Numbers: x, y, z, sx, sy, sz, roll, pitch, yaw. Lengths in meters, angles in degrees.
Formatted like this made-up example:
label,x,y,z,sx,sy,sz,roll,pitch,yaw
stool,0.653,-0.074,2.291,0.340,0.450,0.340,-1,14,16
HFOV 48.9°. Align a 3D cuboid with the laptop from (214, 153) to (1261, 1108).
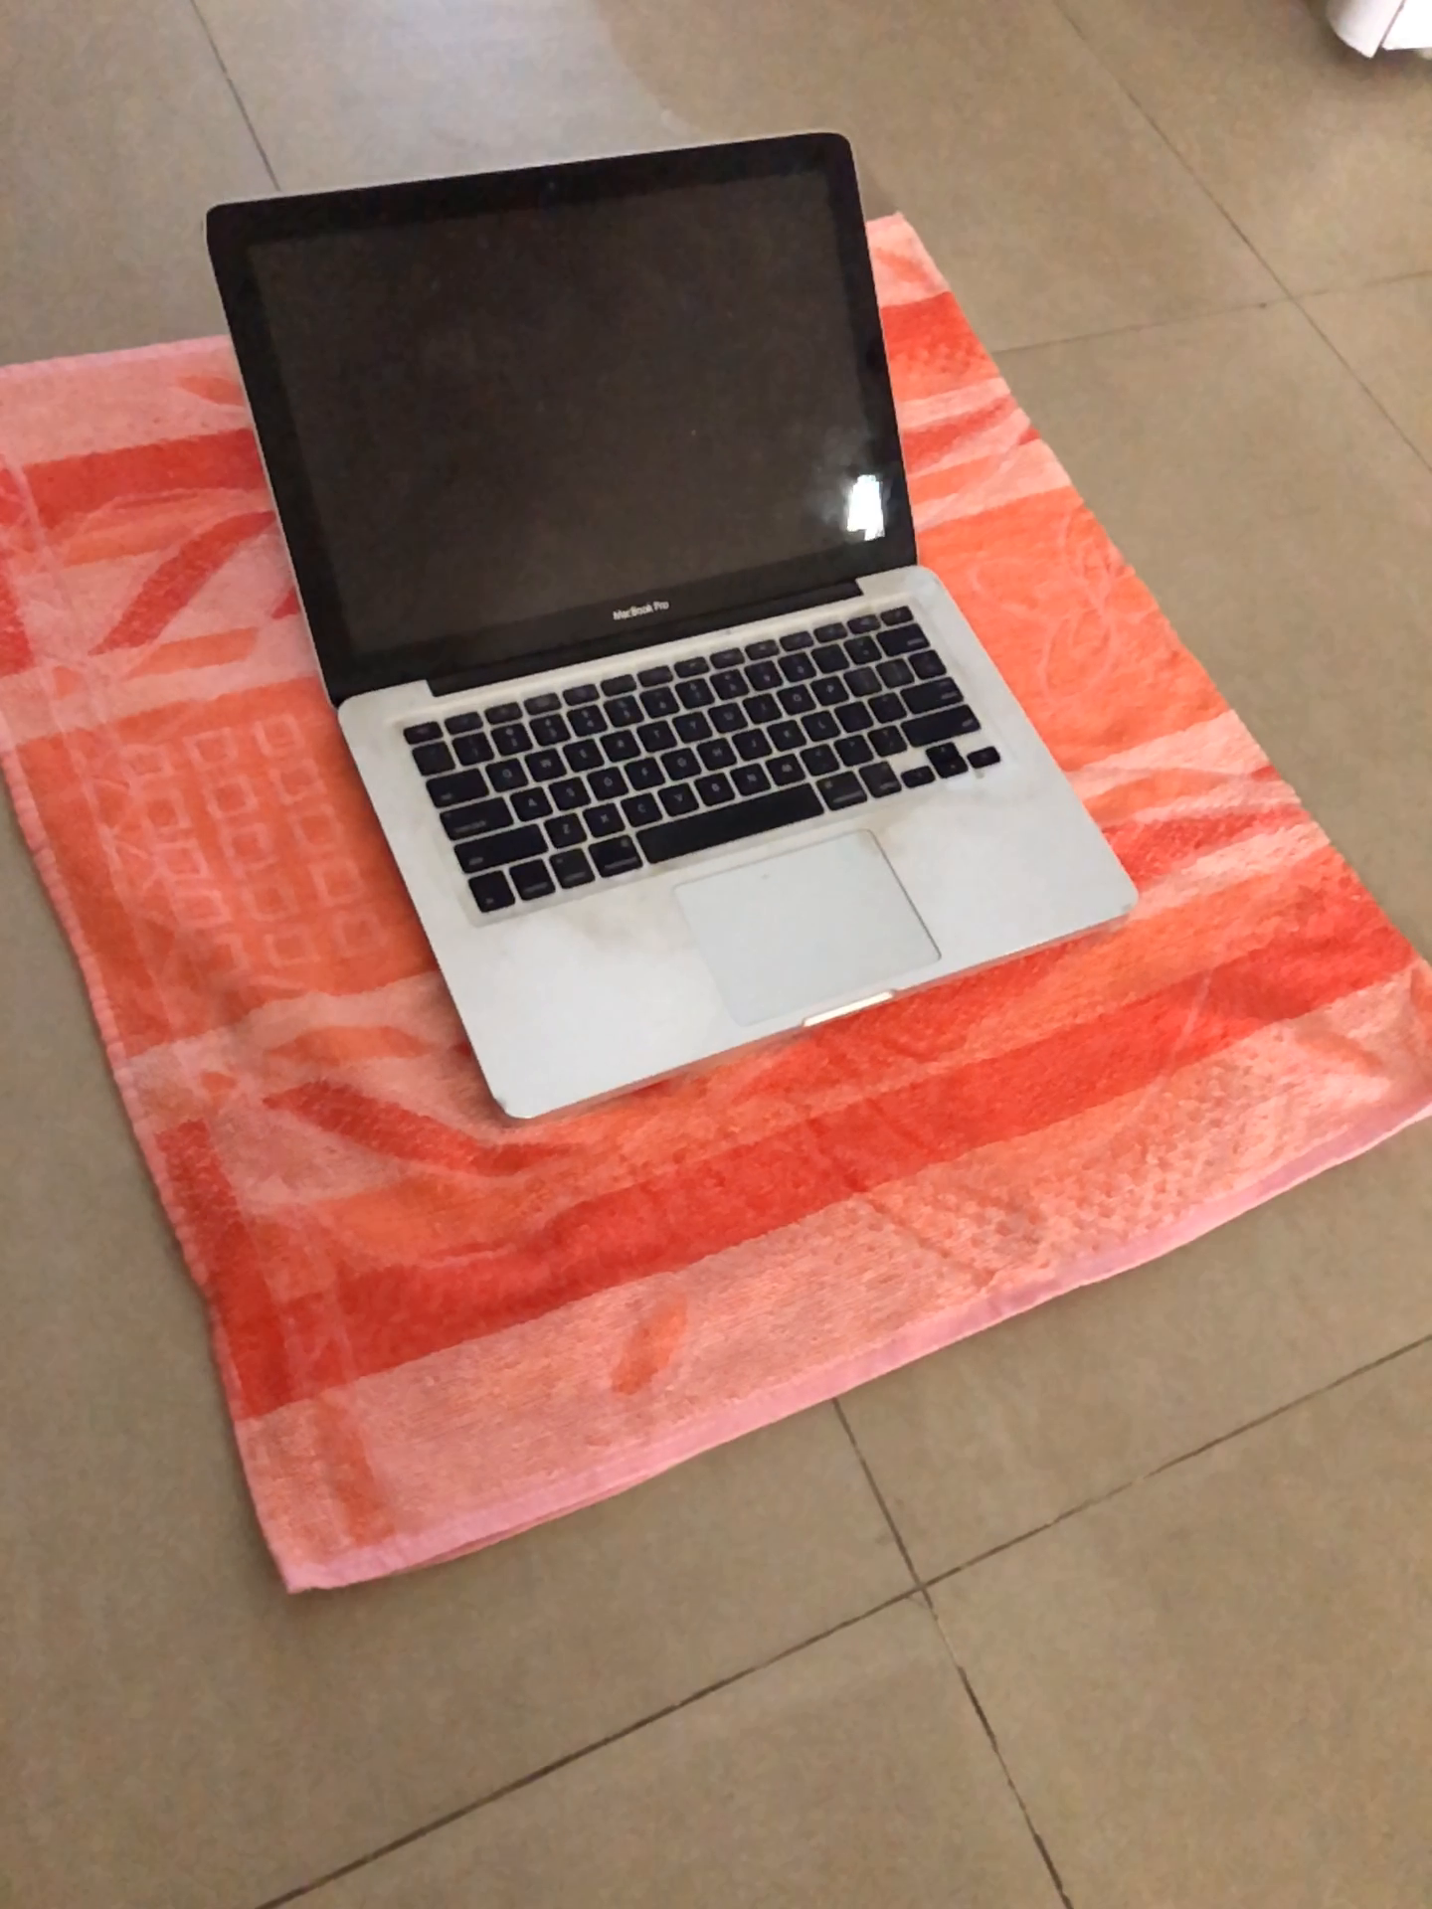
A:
label,x,y,z,sx,sy,sz,roll,pitch,yaw
laptop,-0.010,-0.167,0.703,0.310,0.133,0.373,-18,64,-20
